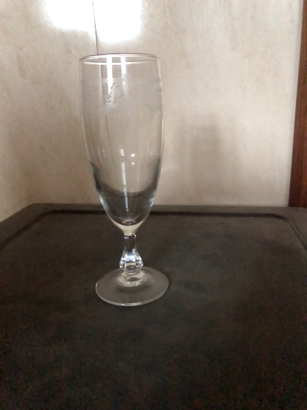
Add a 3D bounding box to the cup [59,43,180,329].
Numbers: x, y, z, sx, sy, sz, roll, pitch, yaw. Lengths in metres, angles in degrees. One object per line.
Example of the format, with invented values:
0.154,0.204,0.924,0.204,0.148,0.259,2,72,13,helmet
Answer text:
-0.022,-0.012,0.233,0.060,0.169,0.060,-3,16,1,cup
